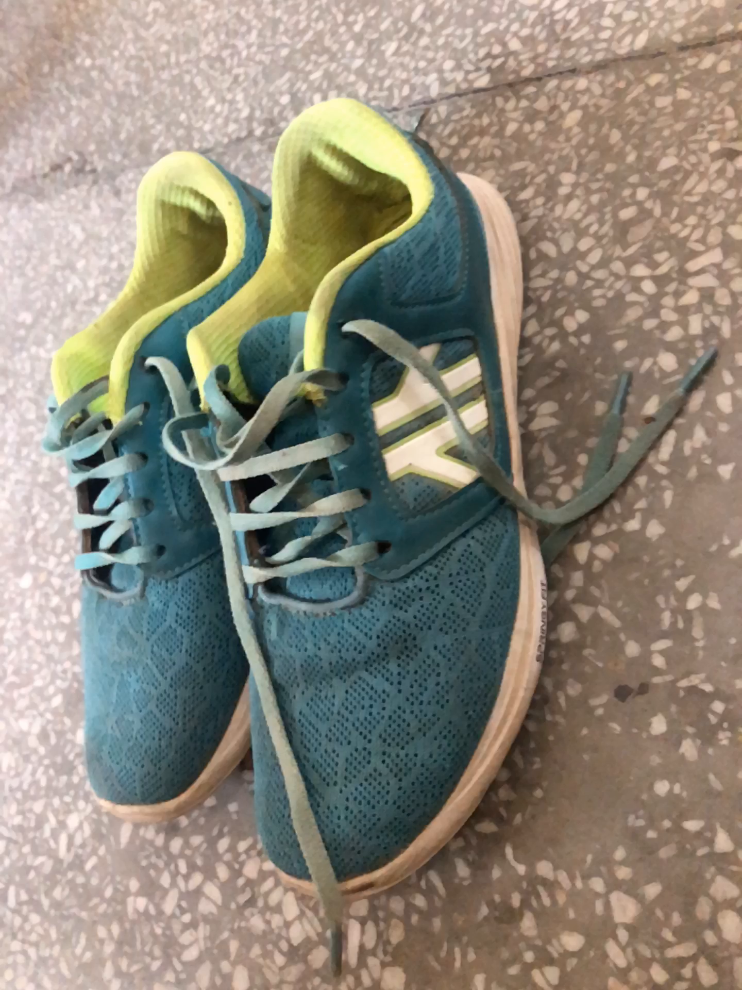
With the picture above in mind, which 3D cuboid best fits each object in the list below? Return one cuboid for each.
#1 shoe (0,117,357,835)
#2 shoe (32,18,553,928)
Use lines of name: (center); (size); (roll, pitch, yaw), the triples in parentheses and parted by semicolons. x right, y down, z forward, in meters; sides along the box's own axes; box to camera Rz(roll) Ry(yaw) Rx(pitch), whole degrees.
shoe: (-0.084, -0.004, 0.313); (0.091, 0.091, 0.230); (-6, 66, 35)
shoe: (-0.010, -0.006, 0.254); (0.095, 0.088, 0.229); (-9, 65, 35)
